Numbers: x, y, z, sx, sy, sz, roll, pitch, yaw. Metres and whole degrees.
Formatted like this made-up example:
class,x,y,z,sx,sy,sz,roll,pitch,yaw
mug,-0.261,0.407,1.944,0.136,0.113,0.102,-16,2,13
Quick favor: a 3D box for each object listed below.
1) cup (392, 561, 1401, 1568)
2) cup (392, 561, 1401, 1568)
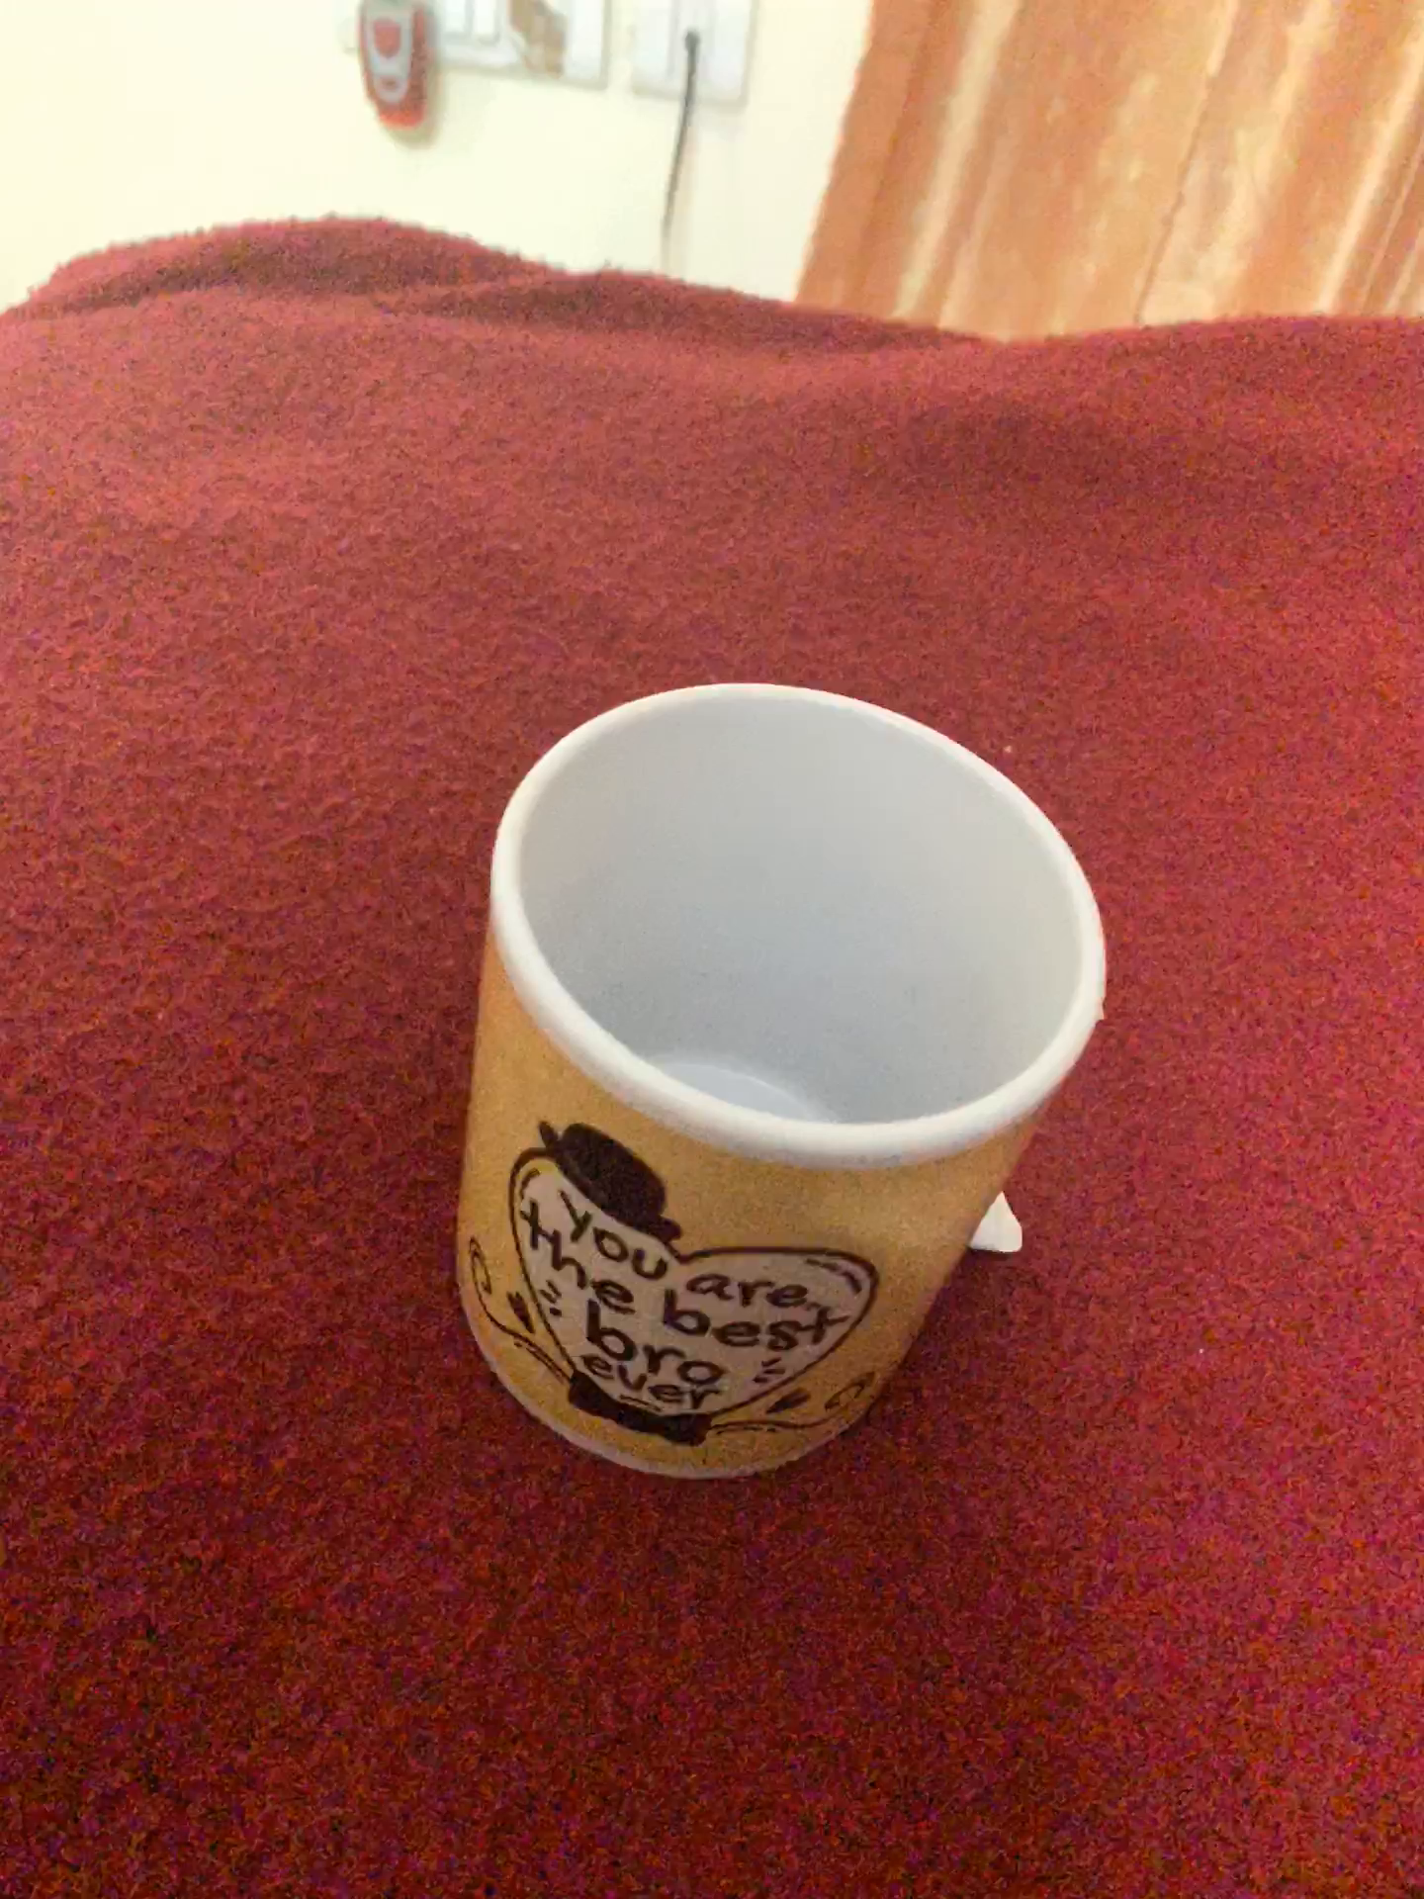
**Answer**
class,x,y,z,sx,sy,sz,roll,pitch,yaw
cup,0.018,0.021,0.227,0.110,0.109,0.081,13,44,-1
cup,0.018,0.021,0.227,0.110,0.109,0.081,13,44,-1
